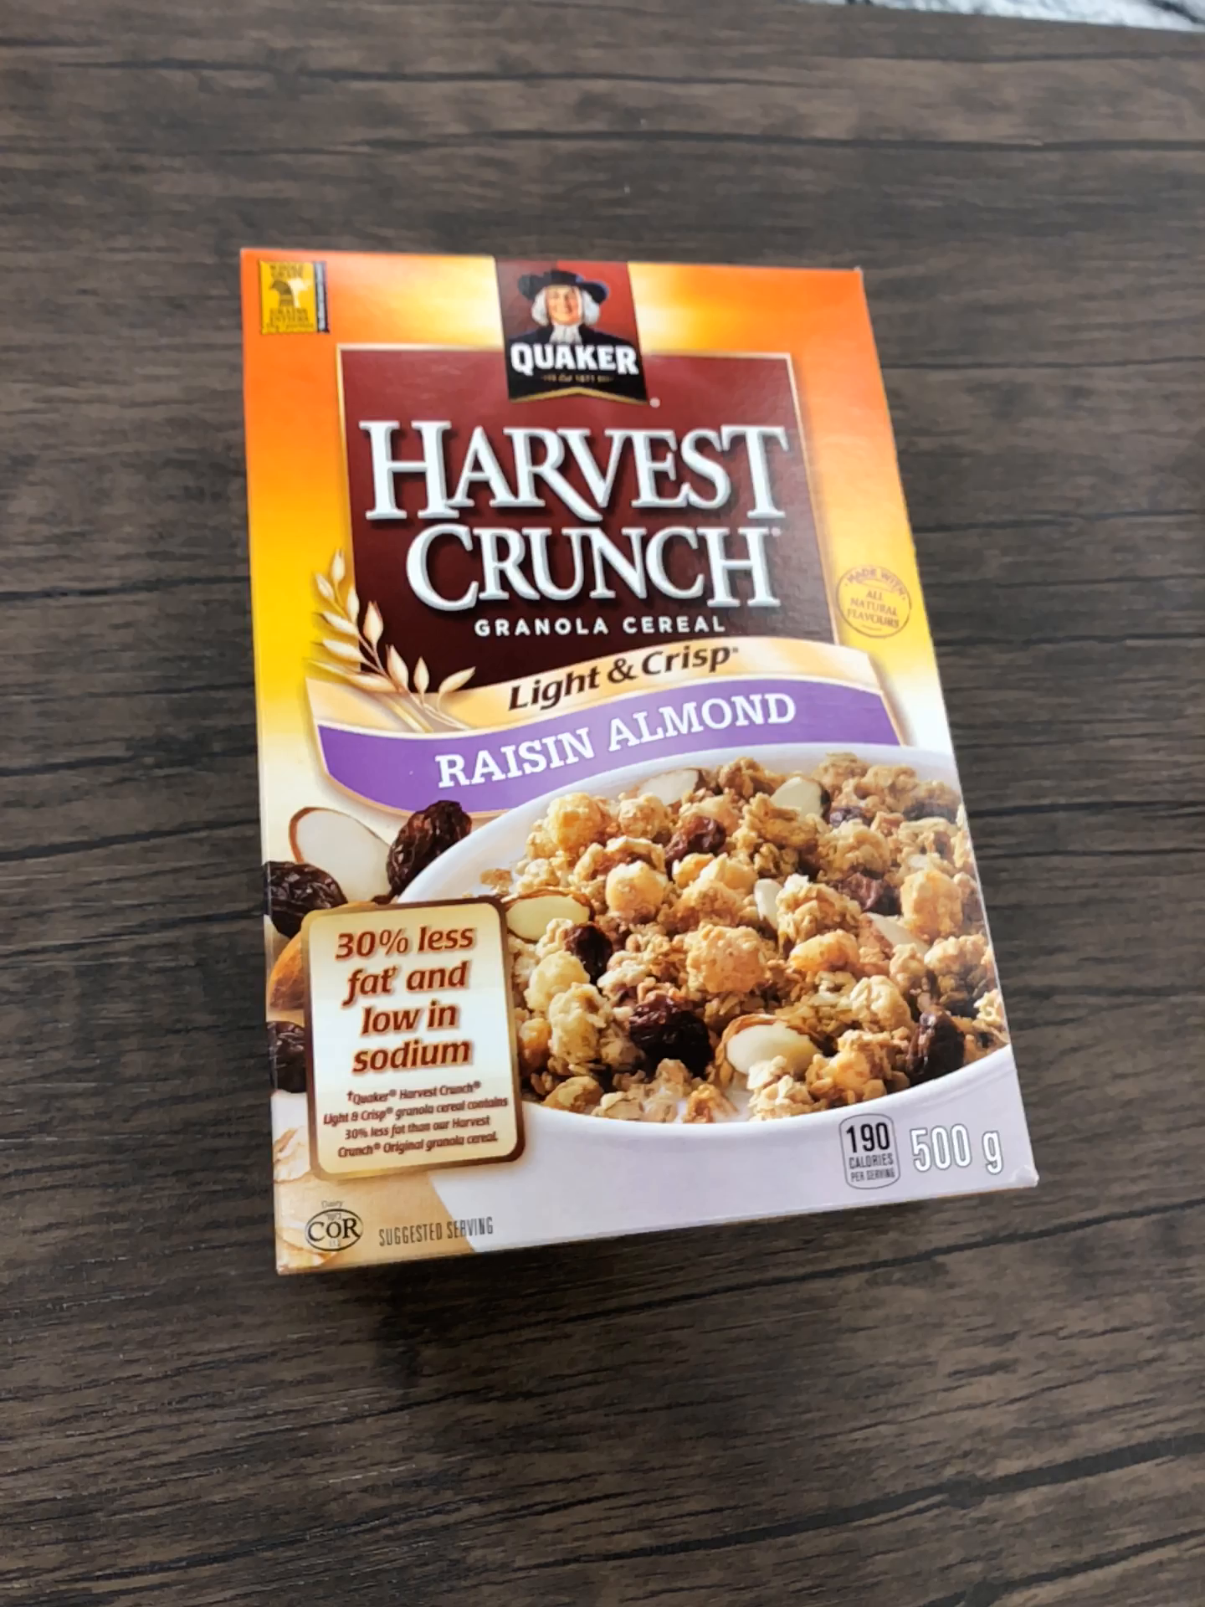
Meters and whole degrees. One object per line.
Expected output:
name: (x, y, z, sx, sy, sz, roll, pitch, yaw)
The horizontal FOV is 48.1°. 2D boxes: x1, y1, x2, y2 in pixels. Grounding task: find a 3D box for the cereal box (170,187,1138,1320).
cereal box: (0.001, -0.019, 0.302, 0.180, 0.050, 0.230, -2, 74, -12)
